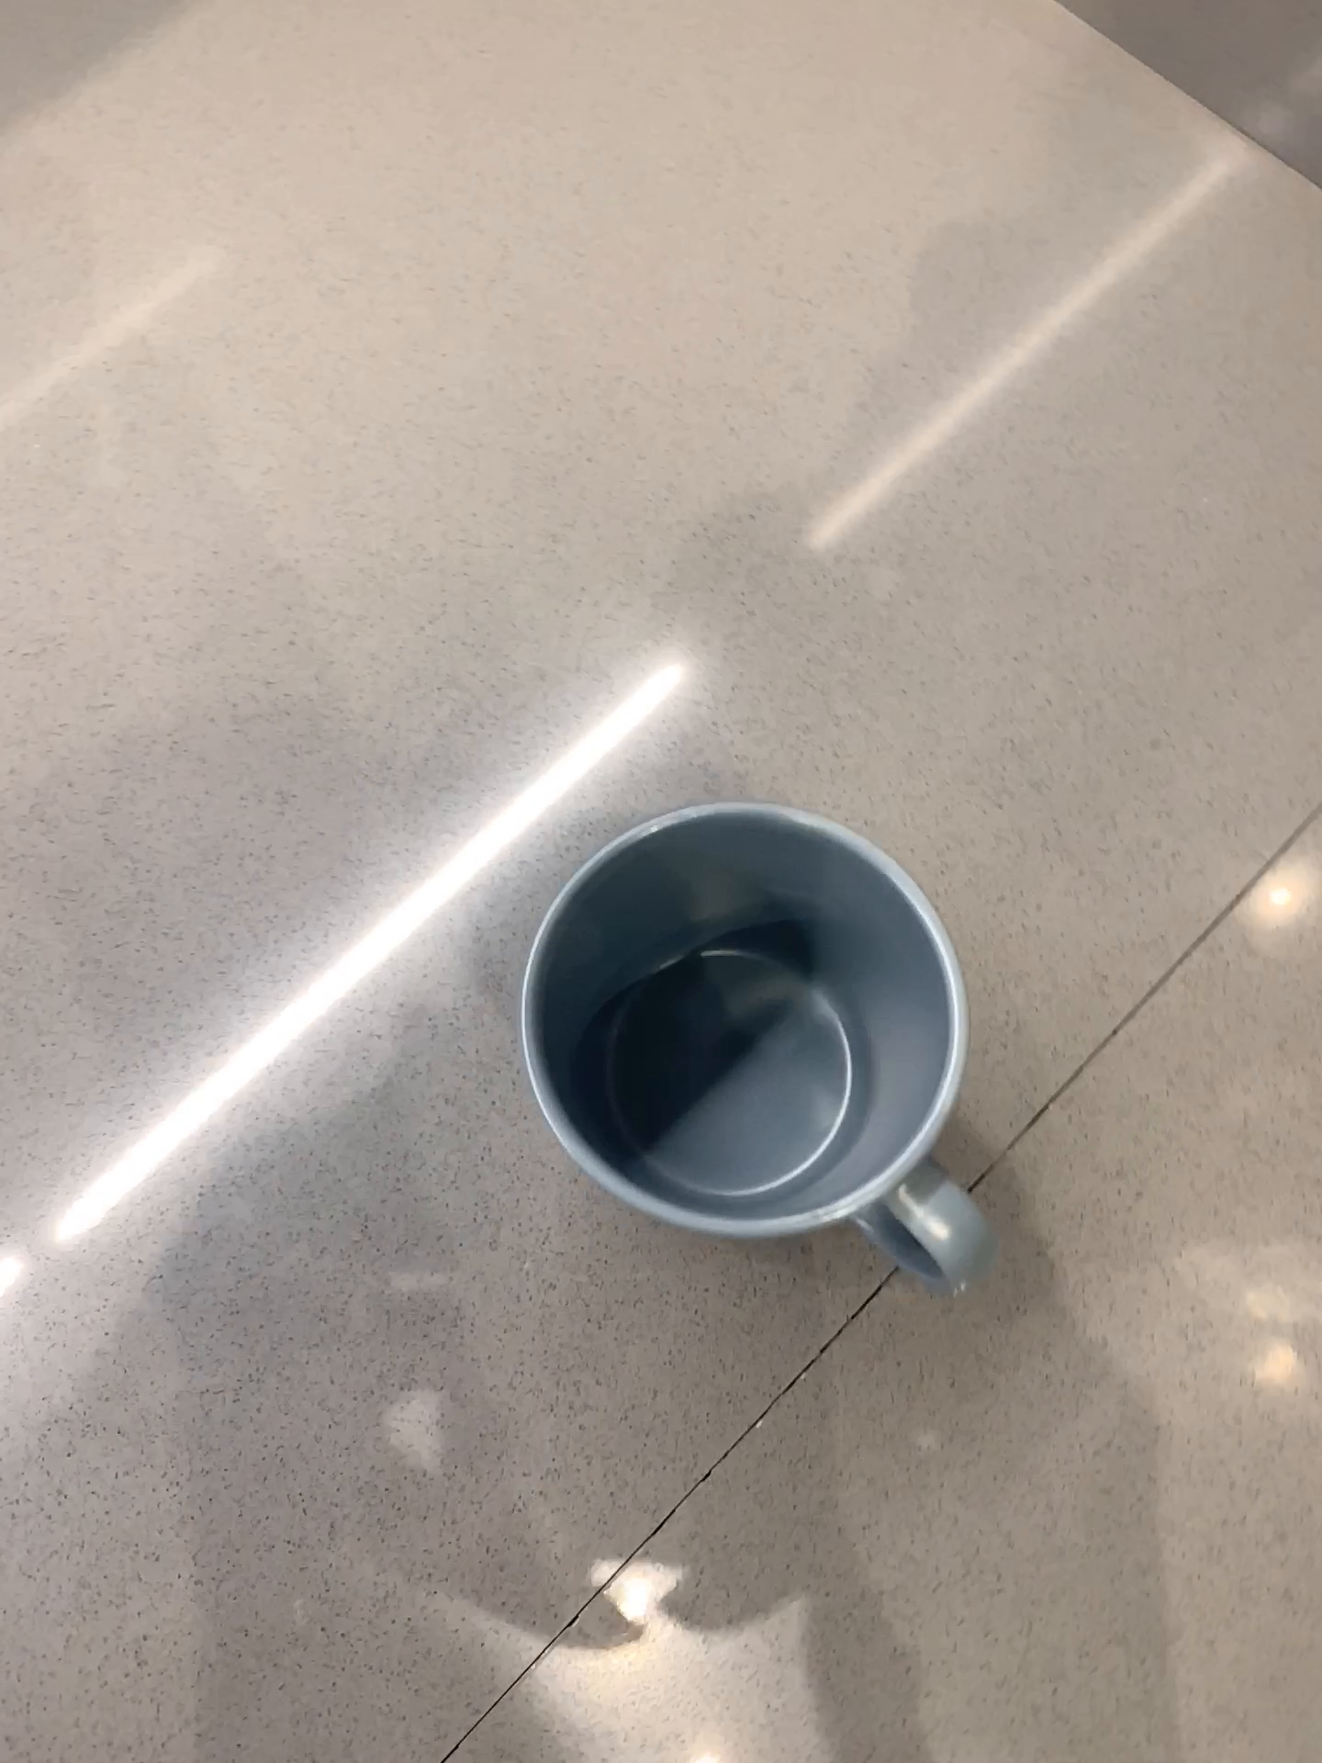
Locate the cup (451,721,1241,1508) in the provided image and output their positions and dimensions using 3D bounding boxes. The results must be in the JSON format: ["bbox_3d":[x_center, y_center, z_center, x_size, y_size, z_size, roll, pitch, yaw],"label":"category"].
[{"bbox_3d":[0.036,0.053,0.313,0.130,0.090,0.090,43,79,12],"label":"cup"}]
